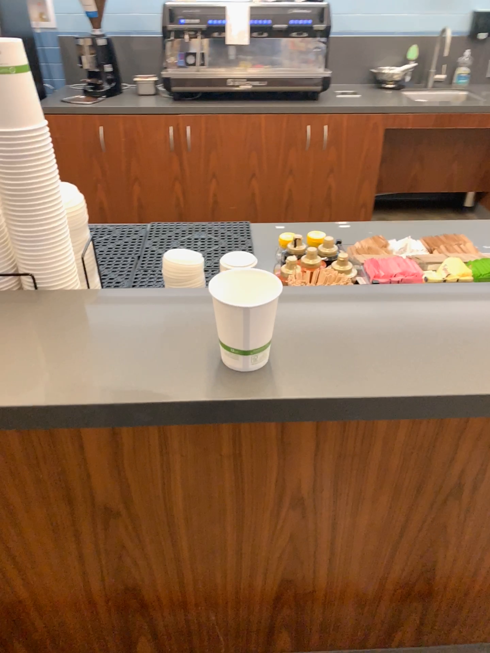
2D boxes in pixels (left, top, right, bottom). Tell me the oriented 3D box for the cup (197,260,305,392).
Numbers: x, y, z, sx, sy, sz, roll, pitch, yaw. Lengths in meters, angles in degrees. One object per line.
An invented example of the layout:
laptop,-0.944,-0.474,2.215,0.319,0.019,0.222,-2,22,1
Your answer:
cup,0.008,-0.004,0.627,0.090,0.109,0.100,19,39,26
